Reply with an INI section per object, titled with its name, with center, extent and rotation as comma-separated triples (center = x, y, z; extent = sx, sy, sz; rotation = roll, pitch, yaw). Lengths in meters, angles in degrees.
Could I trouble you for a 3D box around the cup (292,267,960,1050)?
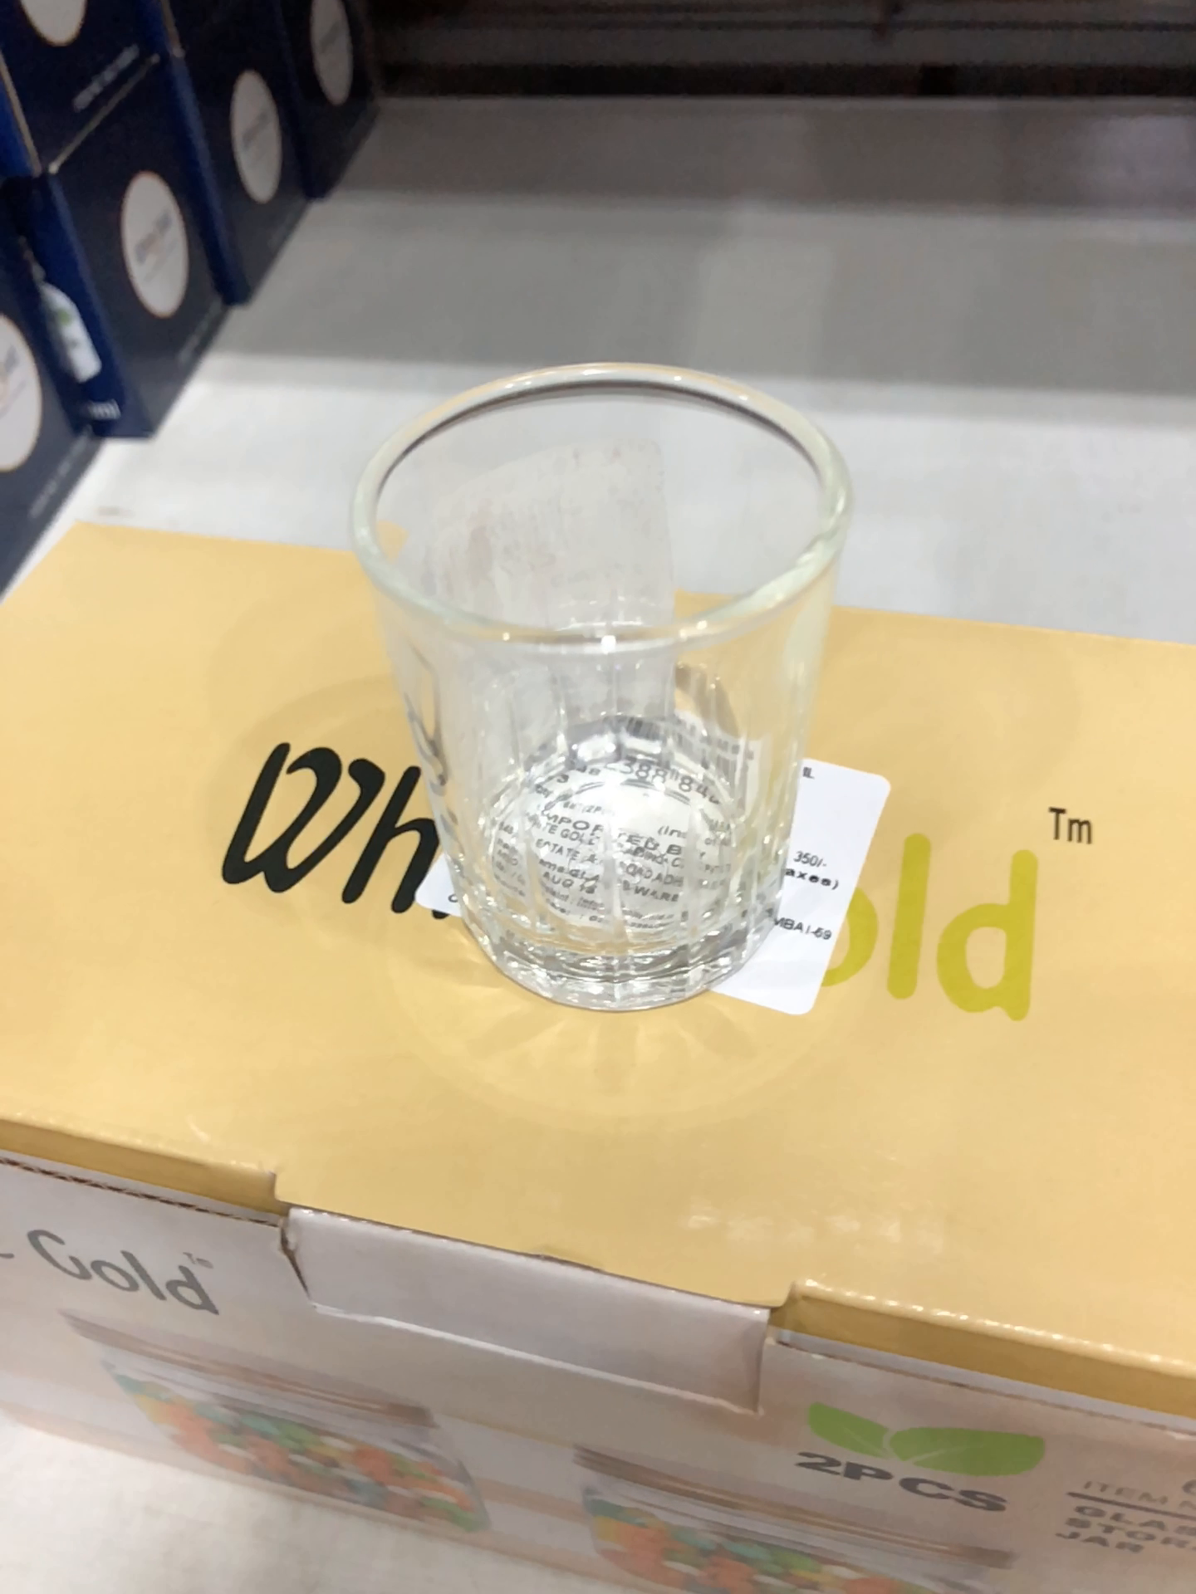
[cup]
center = 0.003, -0.013, 0.141
extent = 0.050, 0.060, 0.050
rotation = -3, 48, 3
